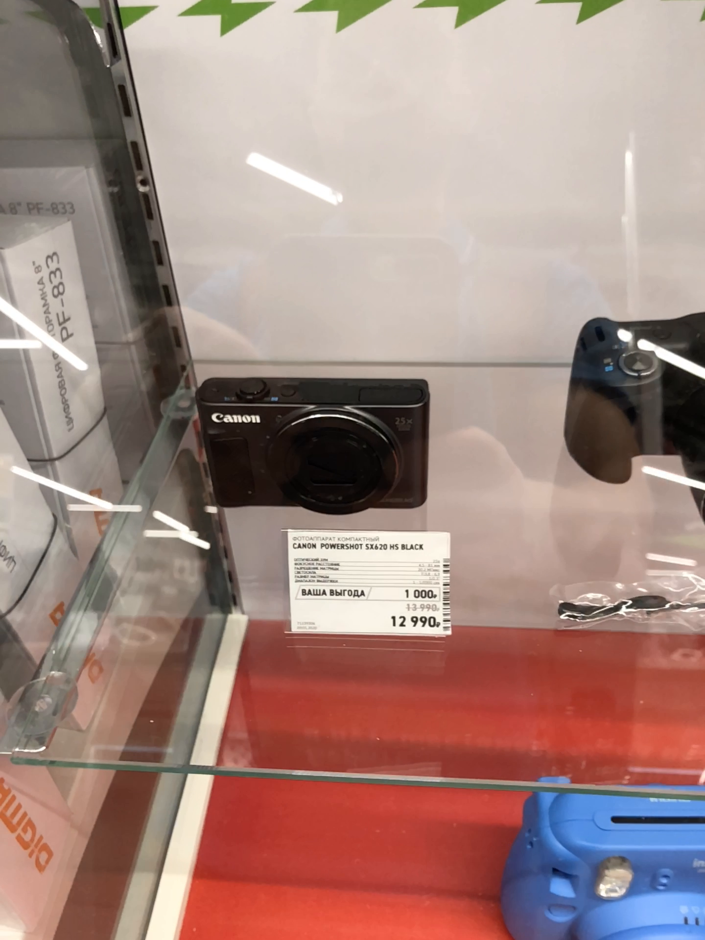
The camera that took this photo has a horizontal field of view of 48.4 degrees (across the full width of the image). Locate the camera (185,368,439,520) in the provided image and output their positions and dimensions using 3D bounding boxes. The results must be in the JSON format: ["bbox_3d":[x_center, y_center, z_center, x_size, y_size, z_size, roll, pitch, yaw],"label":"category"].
[{"bbox_3d":[-0.014,-0.011,0.329,0.098,0.055,0.030,1,40,6],"label":"camera"}]
